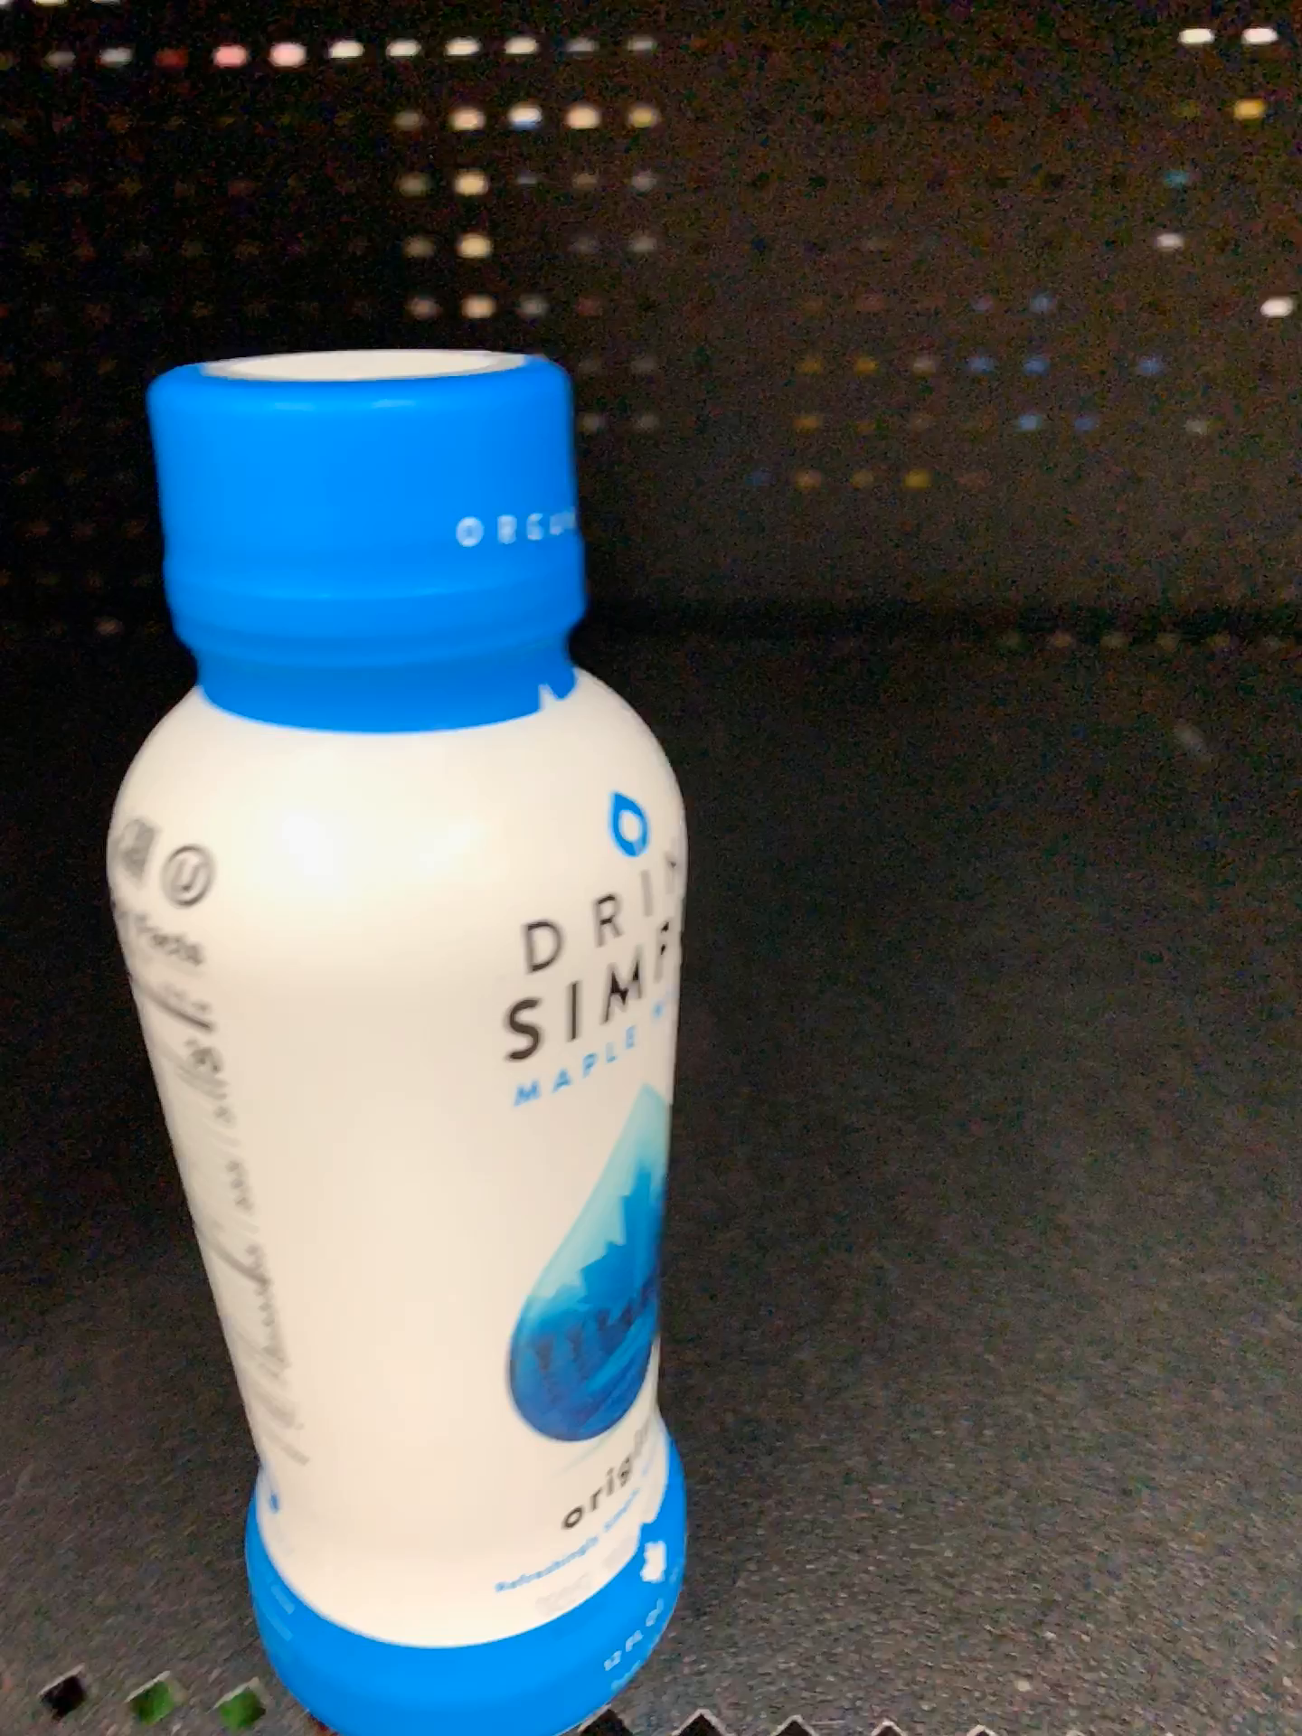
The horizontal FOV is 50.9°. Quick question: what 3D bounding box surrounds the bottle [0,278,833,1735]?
[{"bbox_3d":[-0.026,0.023,0.167,0.066,0.169,0.070,-1,27,0],"label":"bottle"}]
